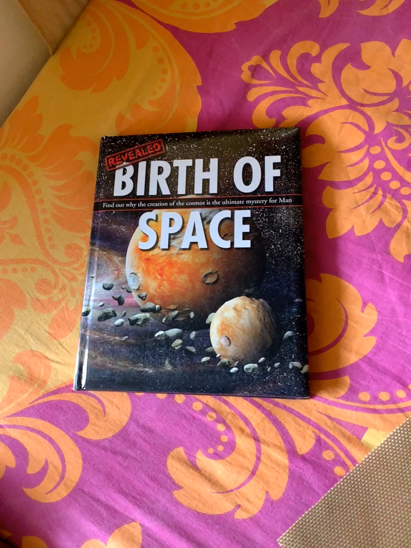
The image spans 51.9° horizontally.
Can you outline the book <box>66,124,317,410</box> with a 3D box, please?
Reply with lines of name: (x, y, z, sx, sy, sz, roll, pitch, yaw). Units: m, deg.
book: (-0.011, -0.014, 0.392, 0.211, 0.020, 0.258, 0, 75, 8)
